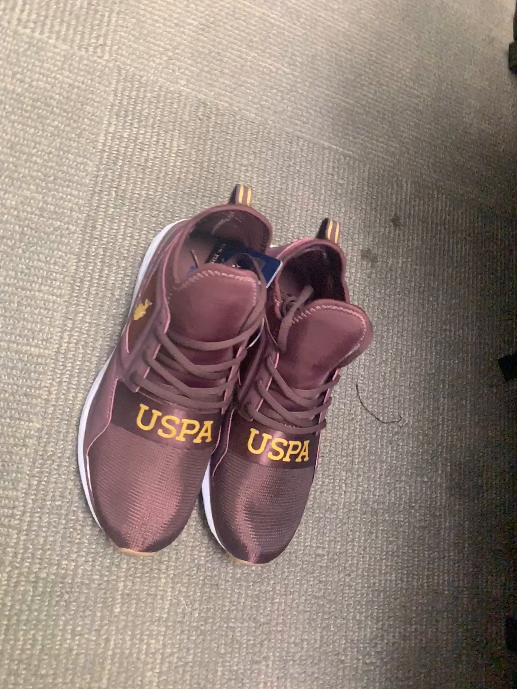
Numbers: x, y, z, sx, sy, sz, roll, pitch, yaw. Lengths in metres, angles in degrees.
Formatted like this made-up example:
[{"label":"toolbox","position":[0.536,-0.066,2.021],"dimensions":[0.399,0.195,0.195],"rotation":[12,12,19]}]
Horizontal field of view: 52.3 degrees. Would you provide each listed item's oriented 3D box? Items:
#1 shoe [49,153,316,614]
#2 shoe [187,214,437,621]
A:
[{"label":"shoe","position":[-0.057,0.031,0.364],"dimensions":[0.103,0.156,0.243],"rotation":[14,73,-21]},{"label":"shoe","position":[0.037,0.055,0.399],"dimensions":[0.103,0.149,0.241],"rotation":[14,73,-21]}]
